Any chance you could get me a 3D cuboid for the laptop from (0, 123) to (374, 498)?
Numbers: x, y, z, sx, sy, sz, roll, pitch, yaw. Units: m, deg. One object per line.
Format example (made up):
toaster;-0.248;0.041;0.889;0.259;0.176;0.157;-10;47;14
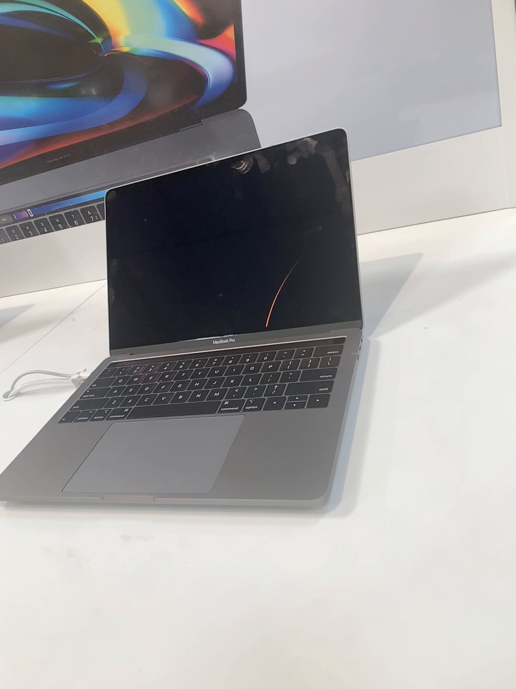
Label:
laptop;-0.071;-0.044;0.468;0.284;0.150;0.316;-7;31;23
